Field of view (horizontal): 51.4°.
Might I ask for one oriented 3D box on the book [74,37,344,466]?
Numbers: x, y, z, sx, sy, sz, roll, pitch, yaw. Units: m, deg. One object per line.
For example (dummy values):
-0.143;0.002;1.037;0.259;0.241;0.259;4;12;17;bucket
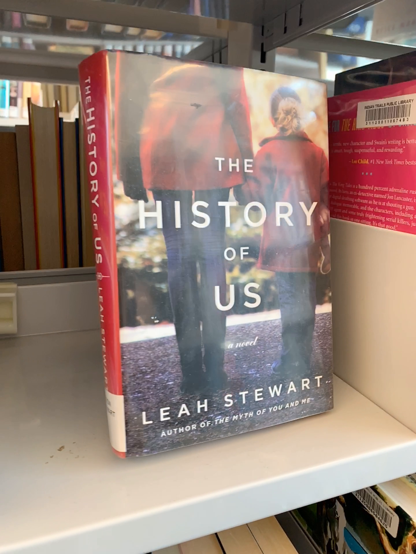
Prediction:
0.007;-0.016;0.267;0.153;0.220;0.040;-5;6;-21;book
